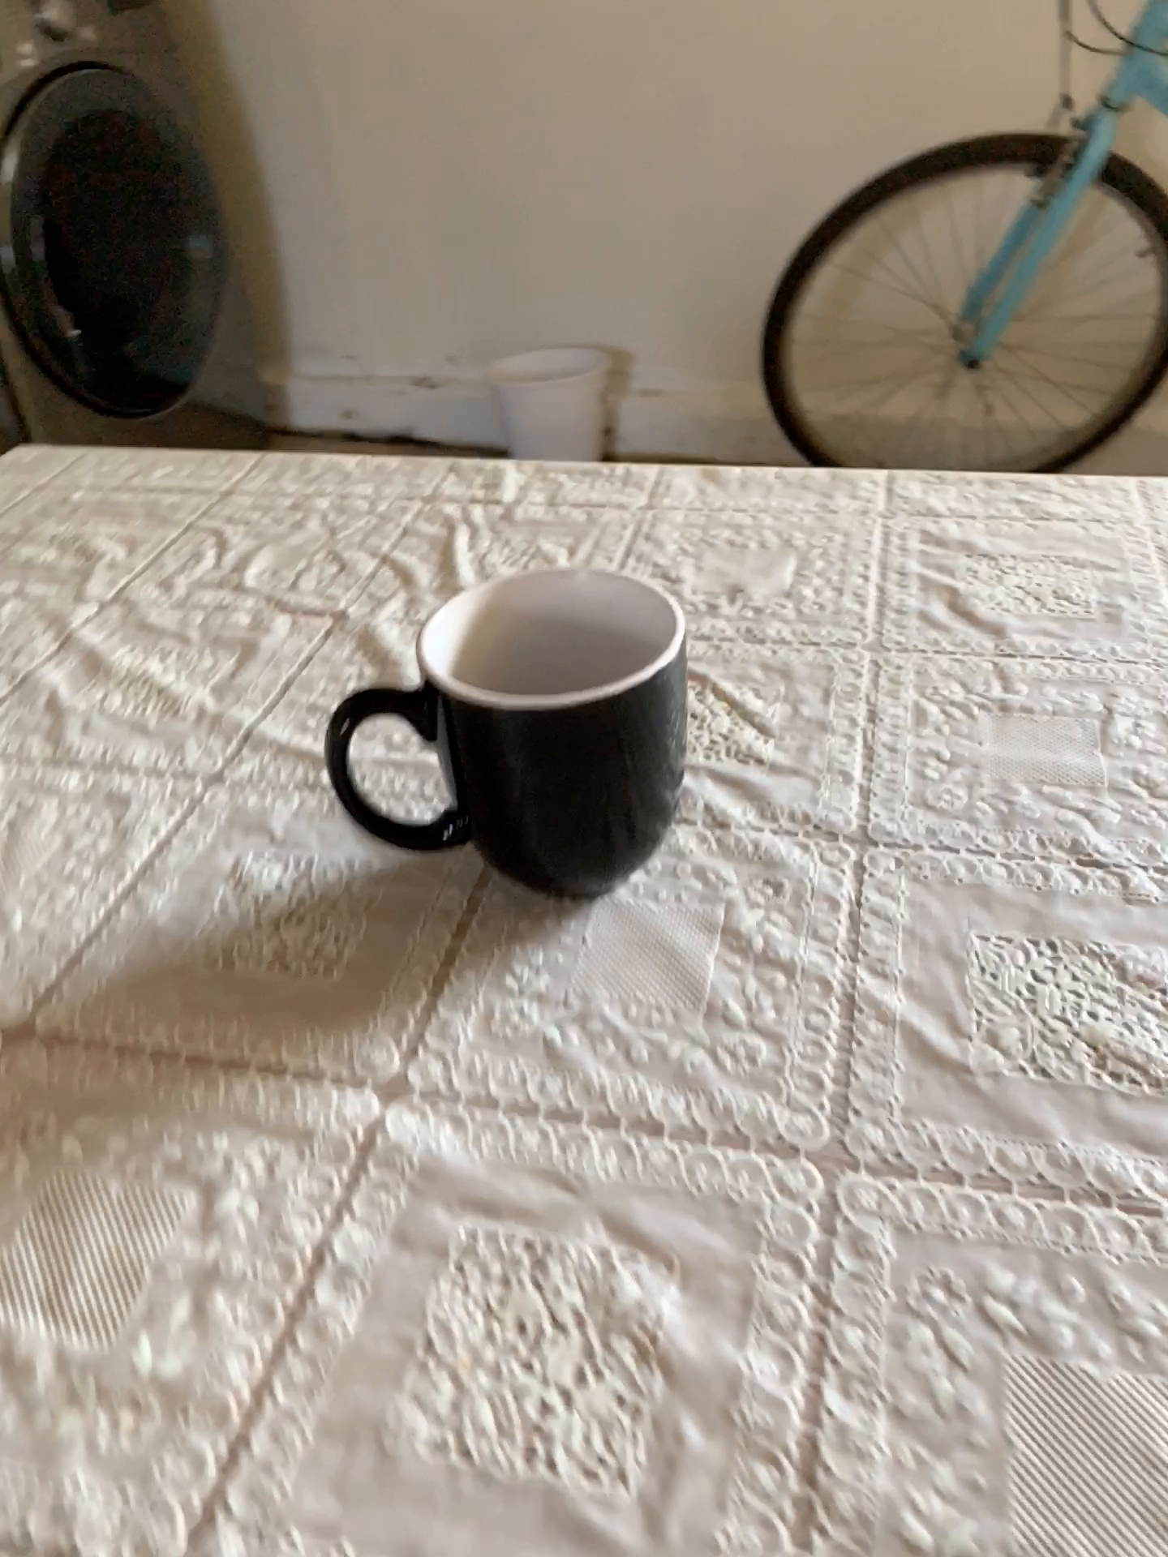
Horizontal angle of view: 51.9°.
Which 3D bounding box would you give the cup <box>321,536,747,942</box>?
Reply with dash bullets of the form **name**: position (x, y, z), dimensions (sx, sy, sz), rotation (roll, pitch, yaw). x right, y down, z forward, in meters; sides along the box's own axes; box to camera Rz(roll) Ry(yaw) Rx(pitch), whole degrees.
- **cup**: position (-0.017, -0.017, 0.463), dimensions (0.140, 0.100, 0.100), rotation (-7, 39, -1)
